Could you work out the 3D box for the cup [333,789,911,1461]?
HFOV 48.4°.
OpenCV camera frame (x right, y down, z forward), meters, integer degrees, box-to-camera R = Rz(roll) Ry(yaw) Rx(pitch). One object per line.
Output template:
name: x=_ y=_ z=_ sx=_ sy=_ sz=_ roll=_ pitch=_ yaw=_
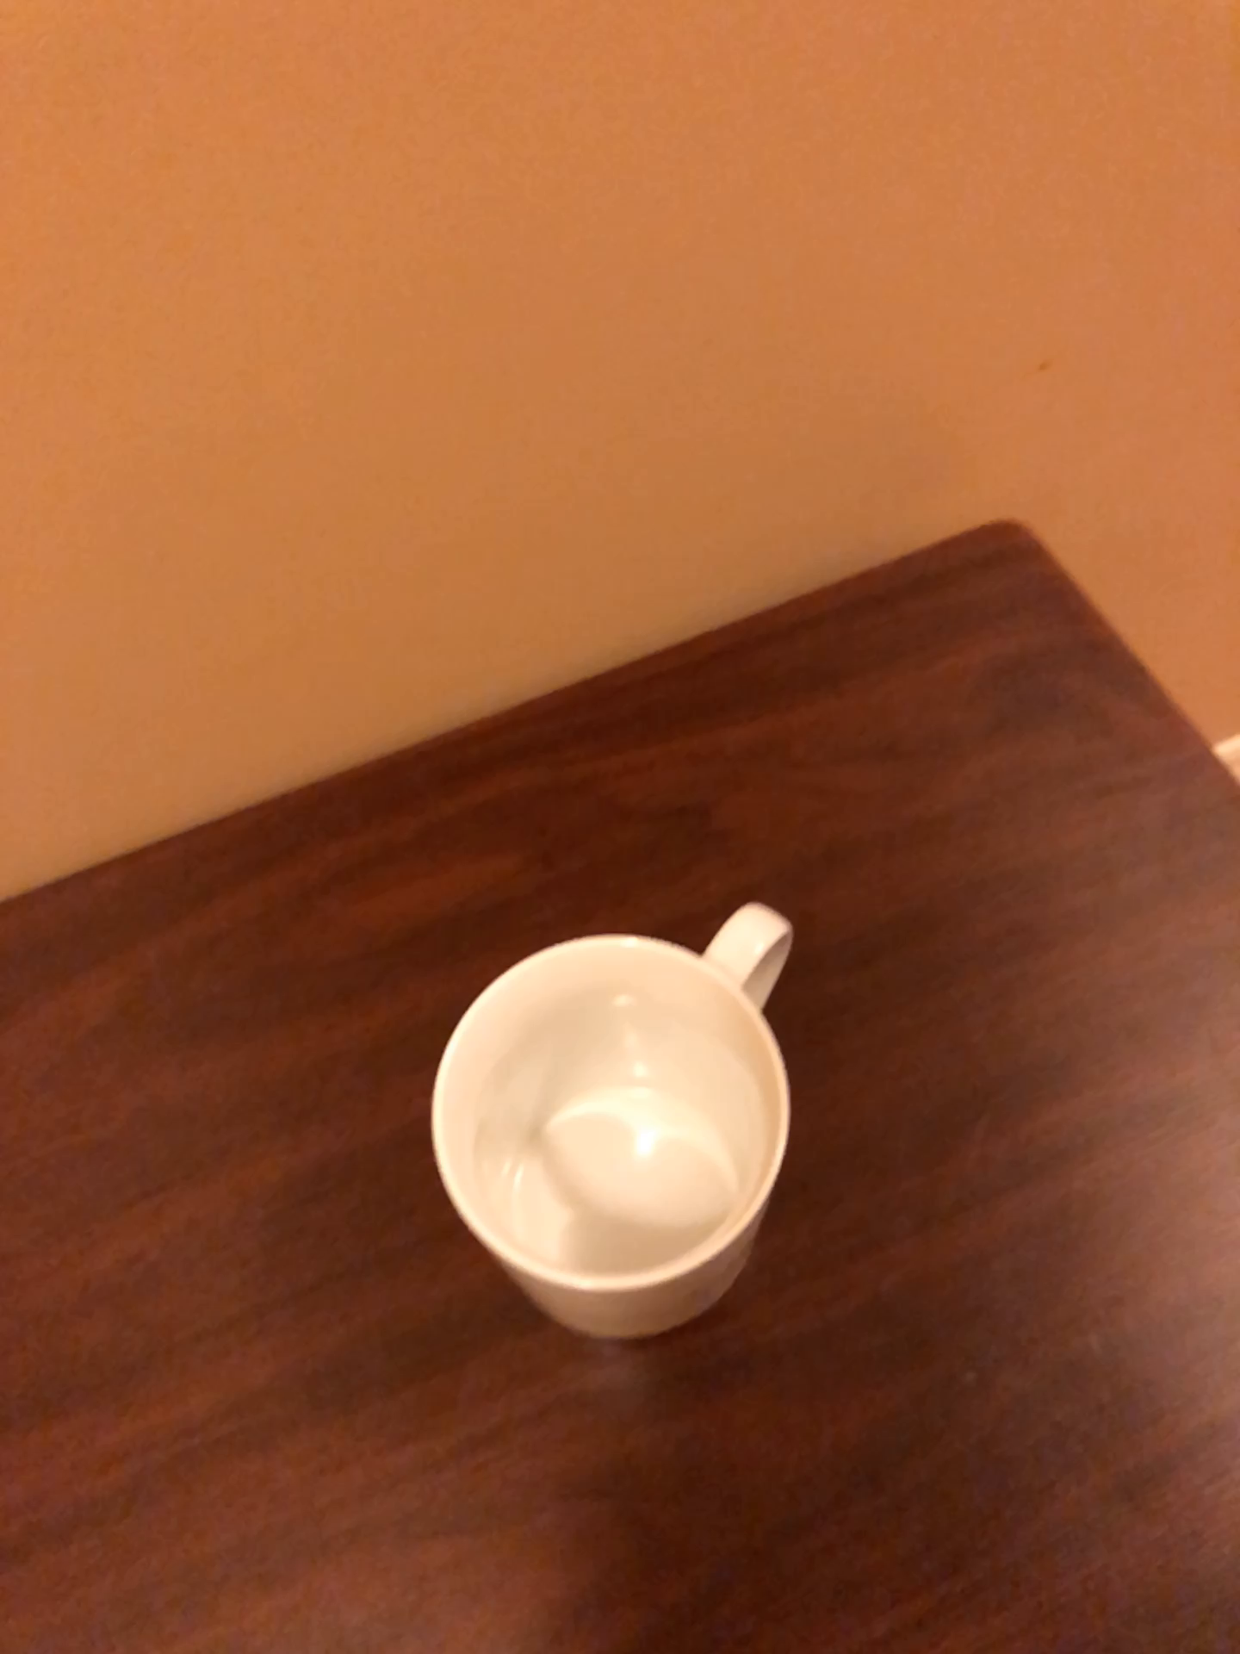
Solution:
cup: x=0.008 y=0.091 z=0.431 sx=0.110 sy=0.100 sz=0.150 roll=20 pitch=62 yaw=16
